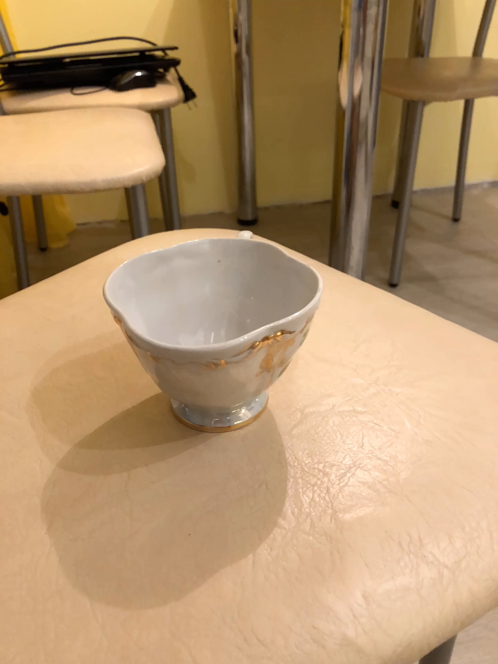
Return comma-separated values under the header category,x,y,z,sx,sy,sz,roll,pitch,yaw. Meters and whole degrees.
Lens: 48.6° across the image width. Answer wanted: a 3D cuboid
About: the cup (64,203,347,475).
category,x,y,z,sx,sy,sz,roll,pitch,yaw
cup,-0.009,-0.009,0.286,0.100,0.064,0.140,7,34,12
